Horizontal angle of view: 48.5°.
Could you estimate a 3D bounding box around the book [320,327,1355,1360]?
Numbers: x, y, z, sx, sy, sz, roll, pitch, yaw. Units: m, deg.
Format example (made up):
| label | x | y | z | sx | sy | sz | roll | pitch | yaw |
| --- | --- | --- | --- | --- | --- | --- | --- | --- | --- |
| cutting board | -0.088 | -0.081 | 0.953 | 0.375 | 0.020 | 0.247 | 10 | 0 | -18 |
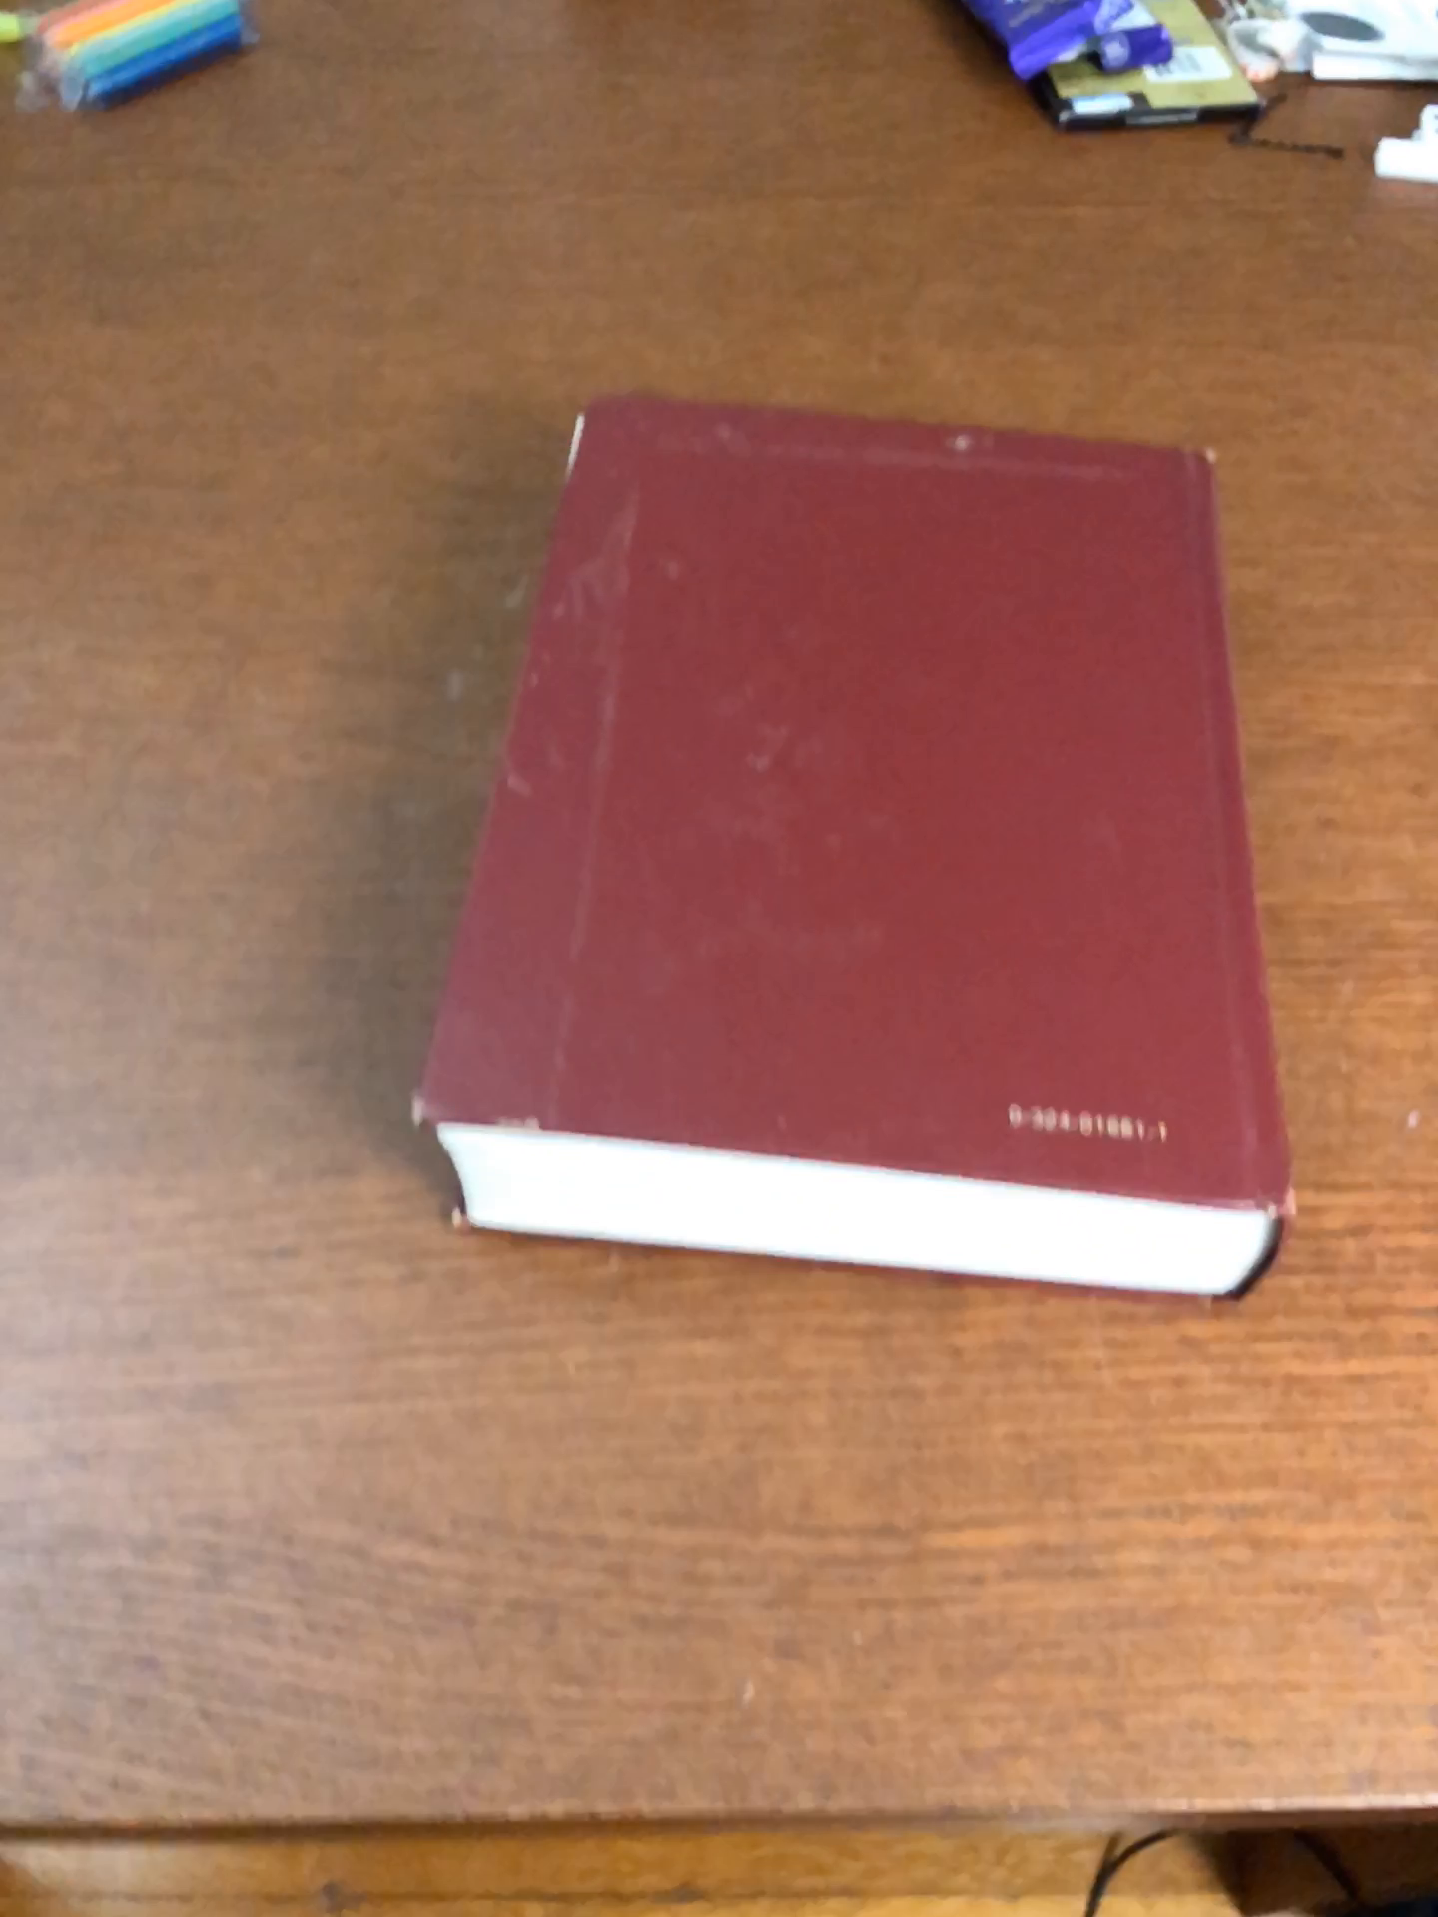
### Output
| label | x | y | z | sx | sy | sz | roll | pitch | yaw |
| --- | --- | --- | --- | --- | --- | --- | --- | --- | --- |
| book | 0.038 | -0.051 | 0.450 | 0.220 | 0.070 | 0.291 | 6 | 55 | 2 |
